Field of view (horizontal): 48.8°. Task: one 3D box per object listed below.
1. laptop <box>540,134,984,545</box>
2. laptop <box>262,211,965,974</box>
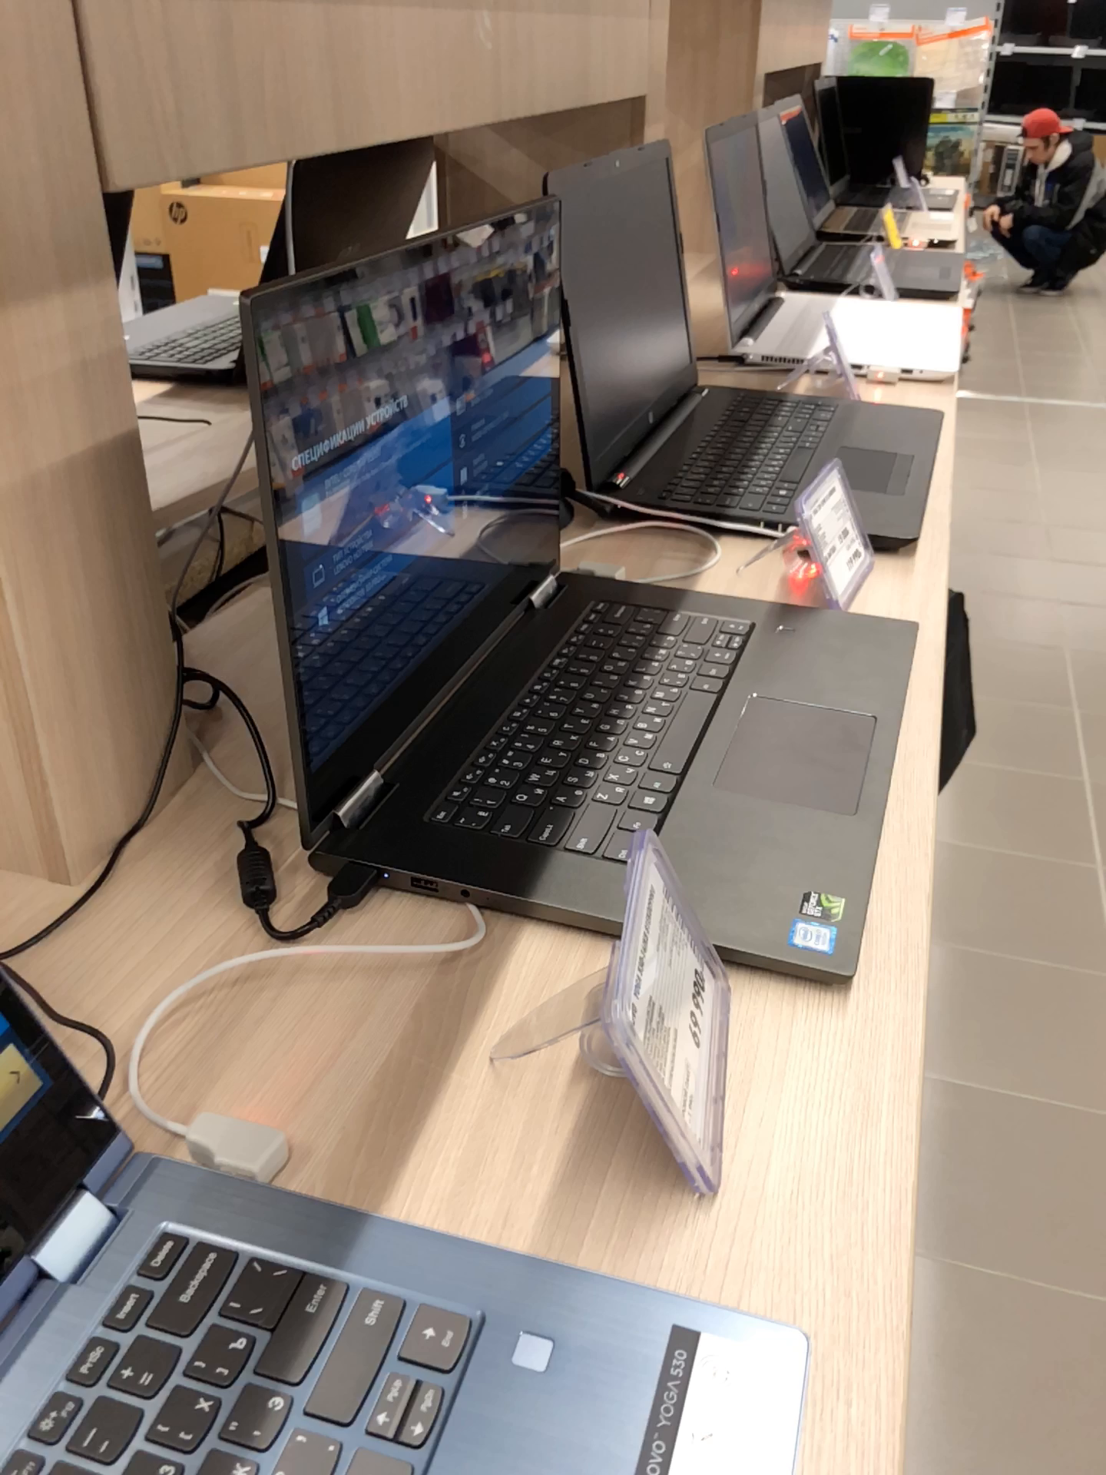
[{"bbox_3d":[0.178,-0.360,1.042,0.308,0.238,0.307,11,33,21],"label":"laptop"},{"bbox_3d":[0.060,-0.116,0.639,0.251,0.240,0.360,11,30,16],"label":"laptop"}]
